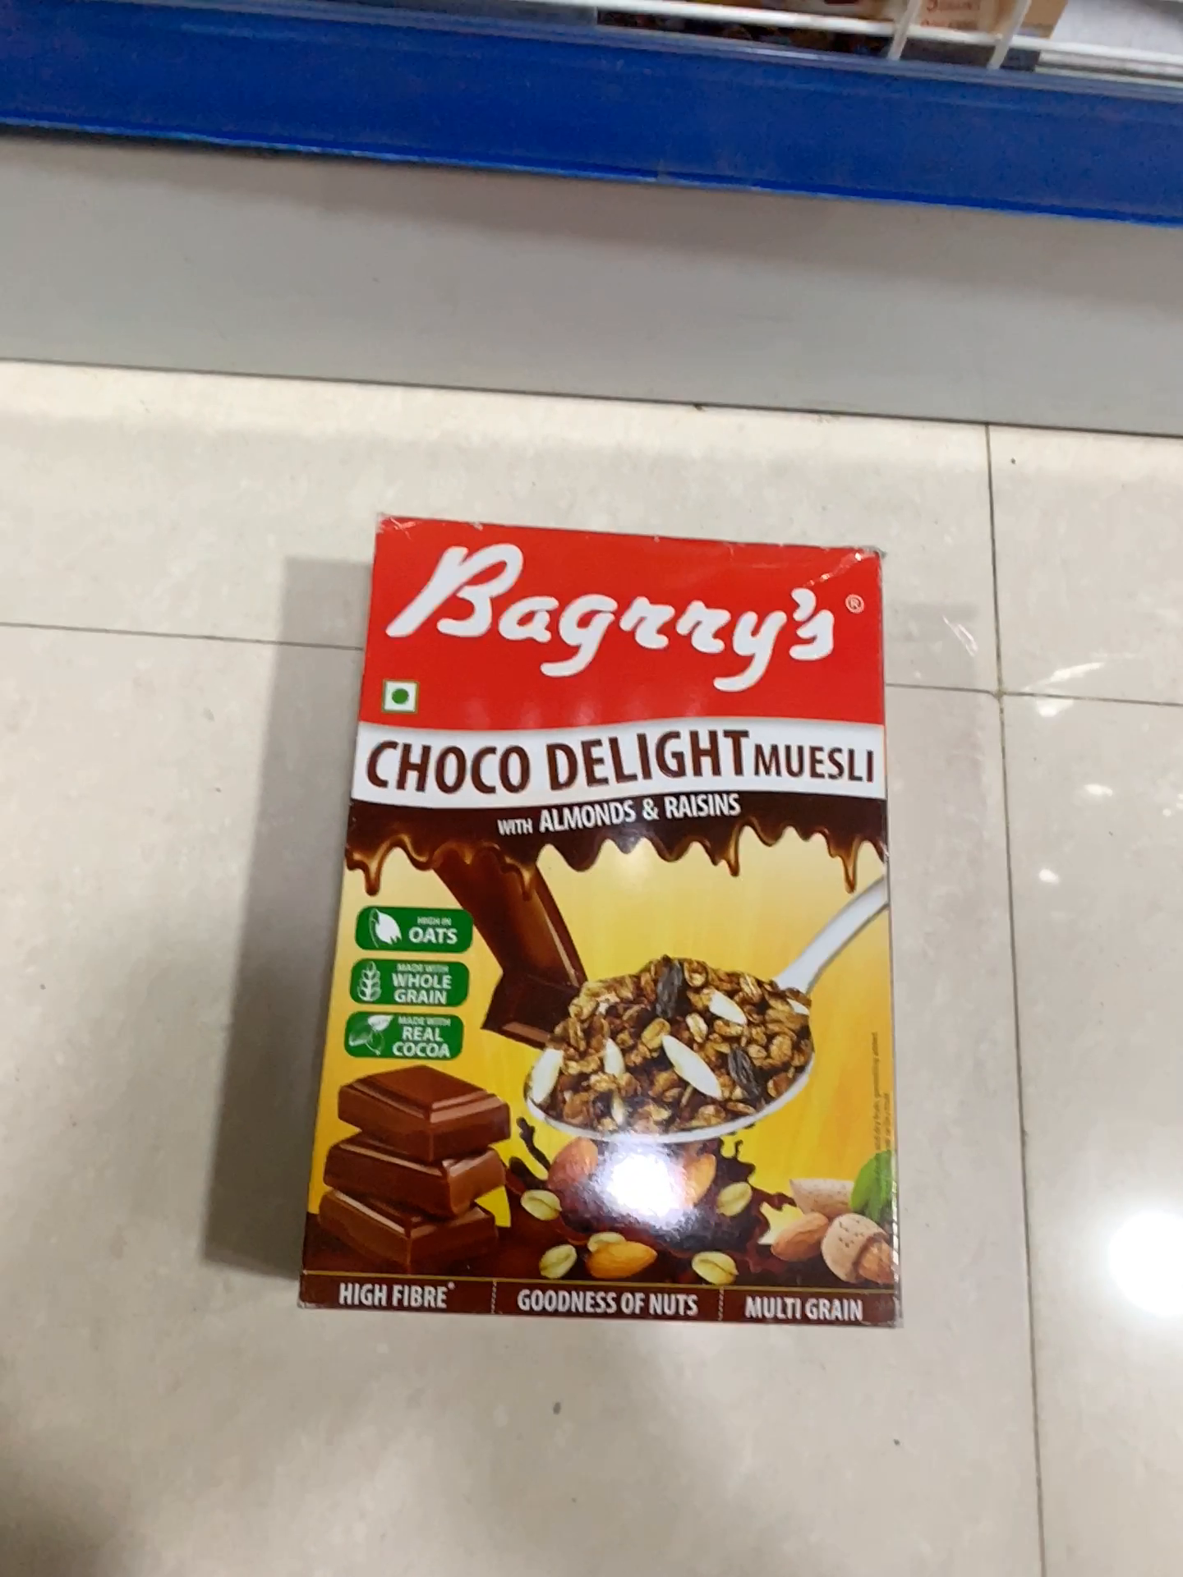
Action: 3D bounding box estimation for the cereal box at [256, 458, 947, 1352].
[{"bbox_3d":[0.008,0.036,0.428,0.200,0.080,0.280,4,74,-3],"label":"cereal box"}]
